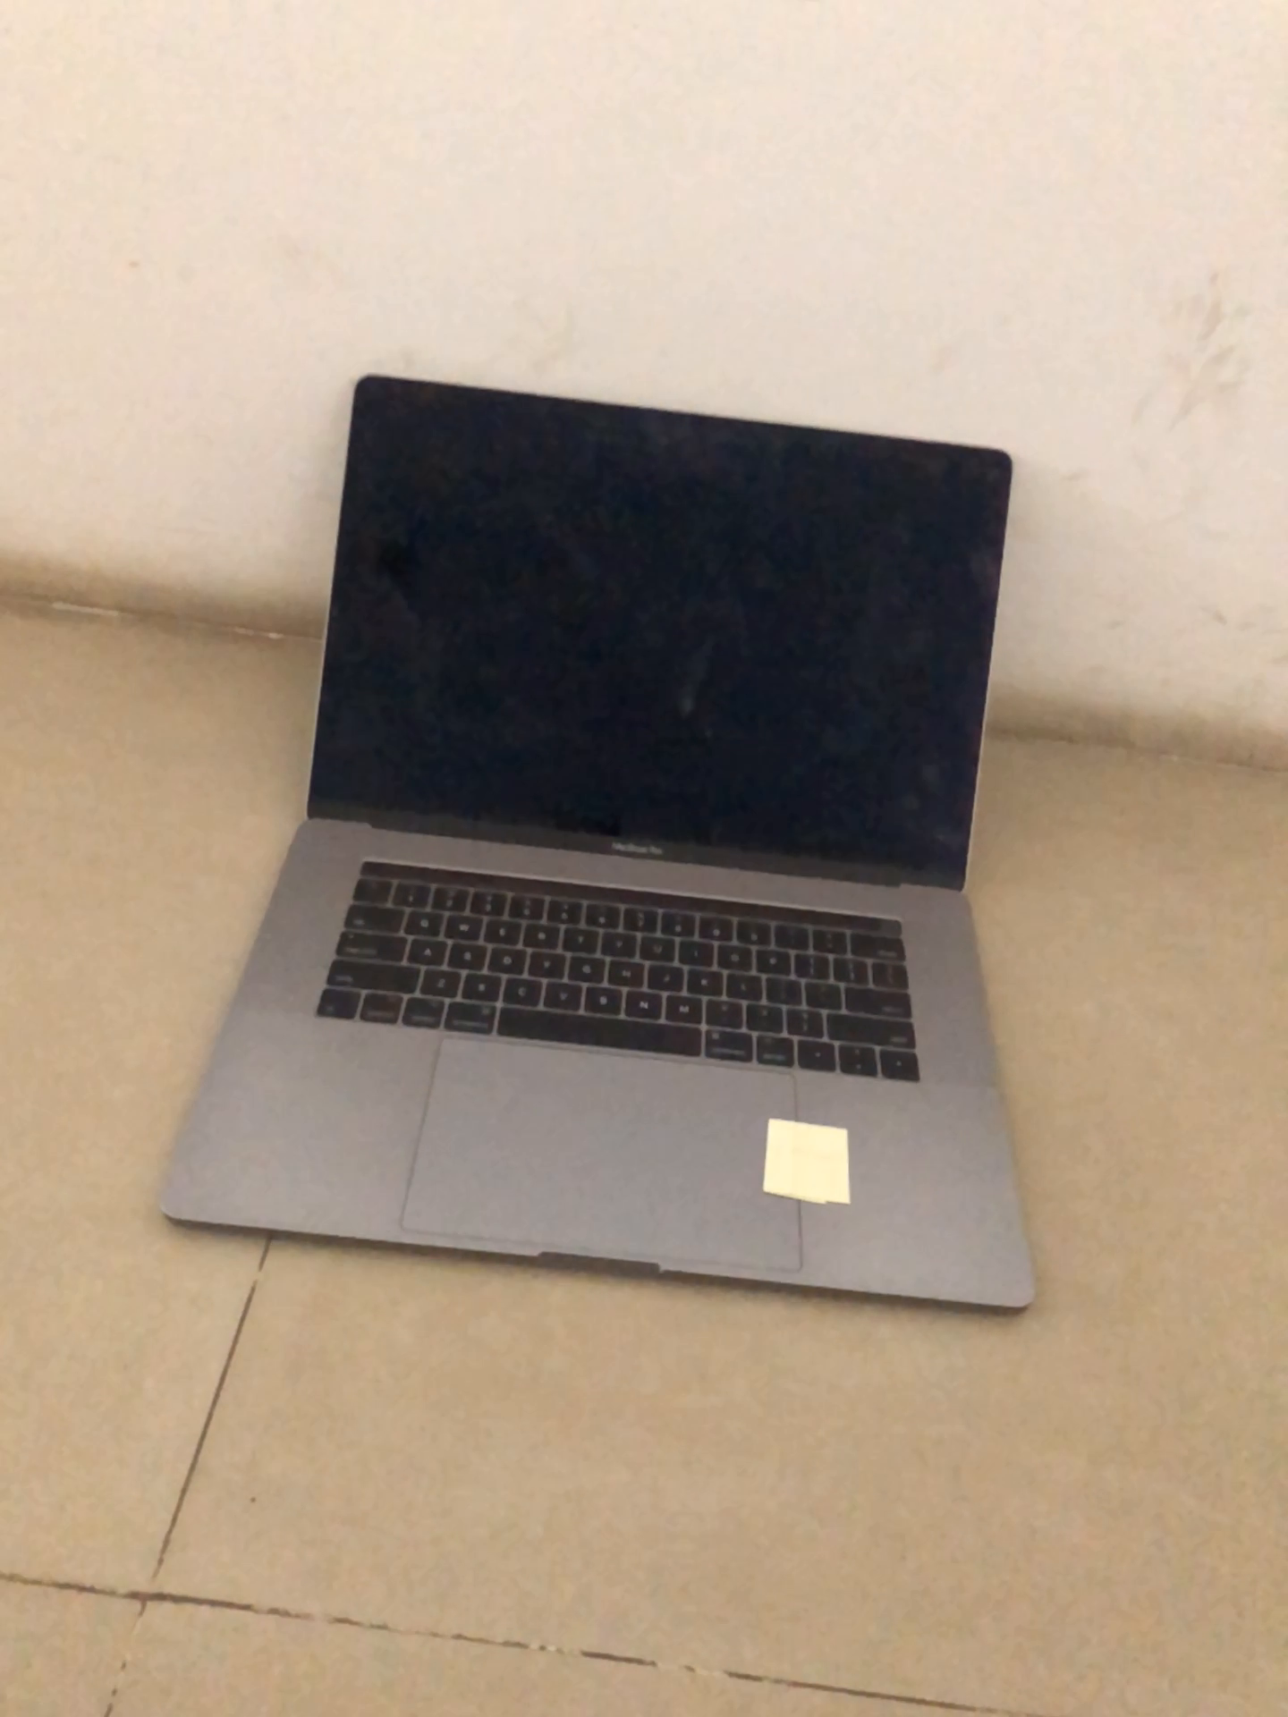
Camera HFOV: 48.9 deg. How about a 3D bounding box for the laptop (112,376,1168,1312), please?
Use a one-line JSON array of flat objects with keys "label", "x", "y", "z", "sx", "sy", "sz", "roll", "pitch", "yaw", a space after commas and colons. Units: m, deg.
[{"label": "laptop", "x": 0.003, "y": -0.034, "z": 0.631, "sx": 0.329, "sy": 0.162, "sz": 0.382, "roll": 7, "pitch": 43, "yaw": -1}]
